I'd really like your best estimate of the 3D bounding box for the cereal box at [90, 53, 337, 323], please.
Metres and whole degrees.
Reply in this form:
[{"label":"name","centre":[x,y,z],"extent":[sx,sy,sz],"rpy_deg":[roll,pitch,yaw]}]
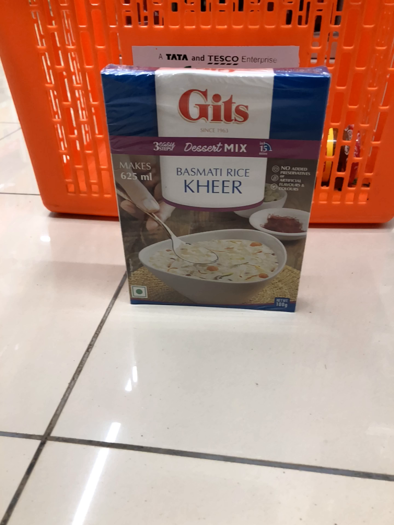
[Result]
[{"label":"cereal box","centre":[0.009,-0.038,0.266],"extent":[0.120,0.159,0.030],"rpy_deg":[2,31,5]}]
